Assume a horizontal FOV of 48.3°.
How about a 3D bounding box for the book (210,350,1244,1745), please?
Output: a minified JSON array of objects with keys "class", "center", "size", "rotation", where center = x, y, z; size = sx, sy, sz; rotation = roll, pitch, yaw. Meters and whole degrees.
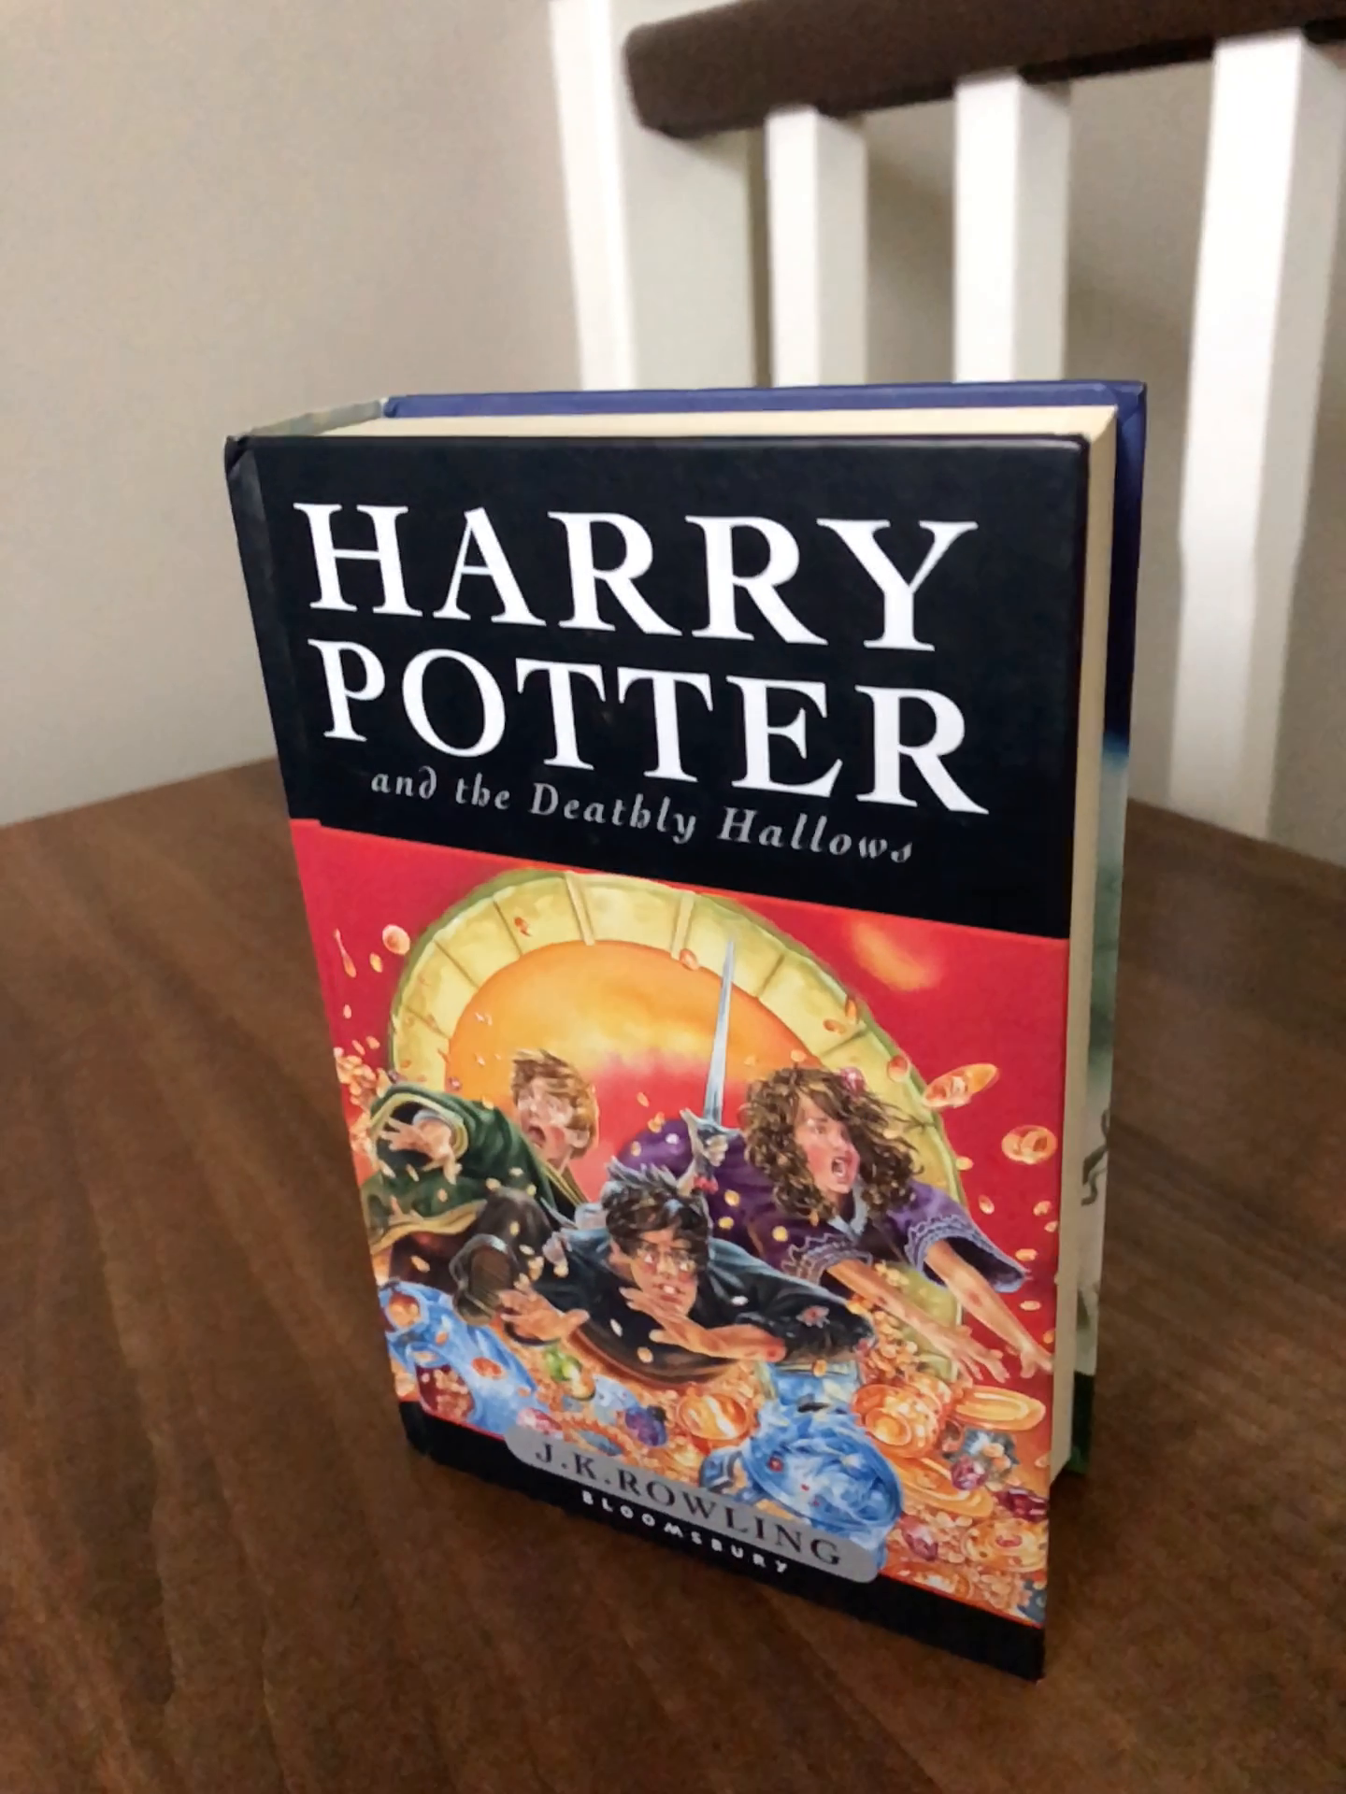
[{"class":"book","center":[0.012,0.020,0.260],"size":[0.140,0.209,0.060],"rotation":[9,26,28]}]
